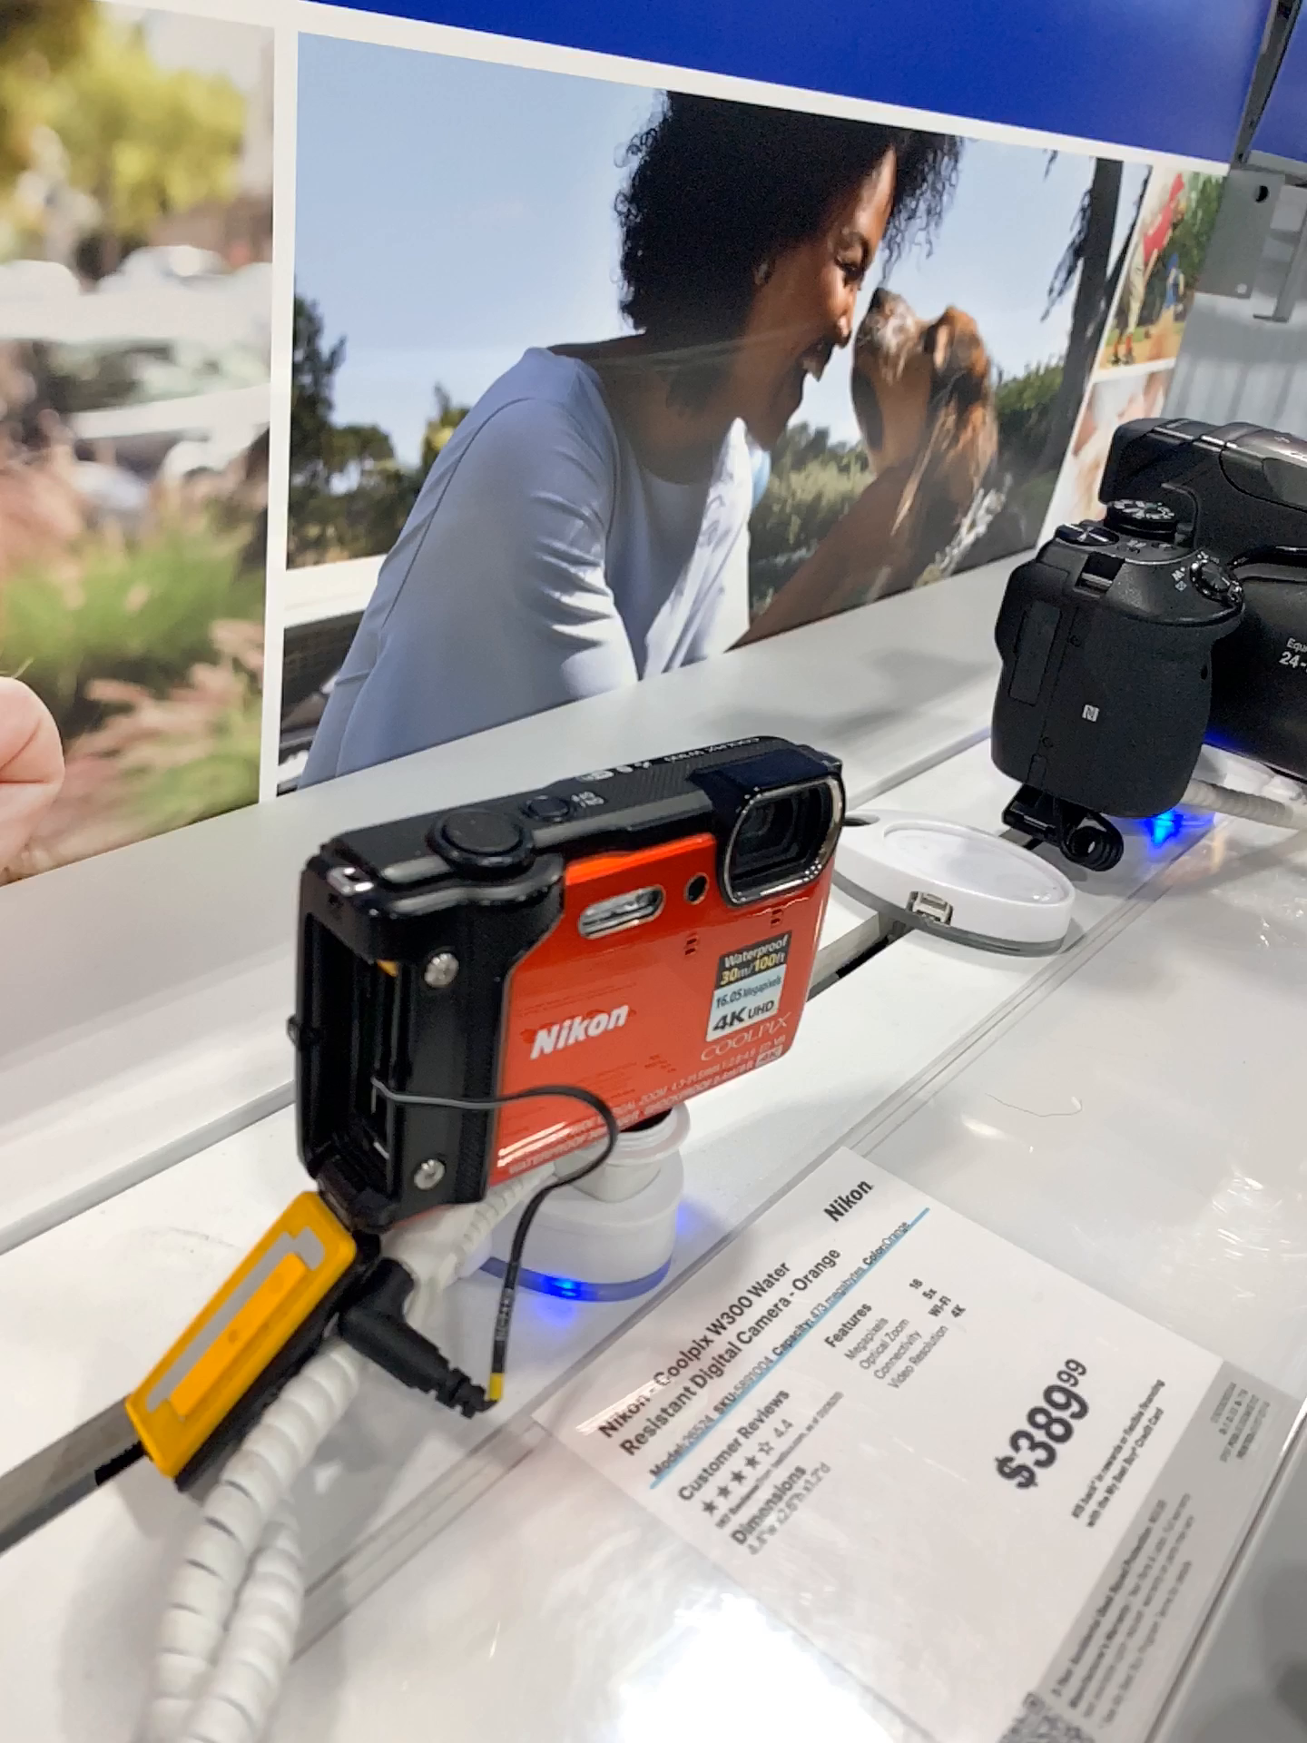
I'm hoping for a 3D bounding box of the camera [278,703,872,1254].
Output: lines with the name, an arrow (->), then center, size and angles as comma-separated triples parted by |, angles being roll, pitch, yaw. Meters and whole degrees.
camera -> -0.011, 0.013, 0.232 | 0.105, 0.063, 0.025 | -18, 37, -41
